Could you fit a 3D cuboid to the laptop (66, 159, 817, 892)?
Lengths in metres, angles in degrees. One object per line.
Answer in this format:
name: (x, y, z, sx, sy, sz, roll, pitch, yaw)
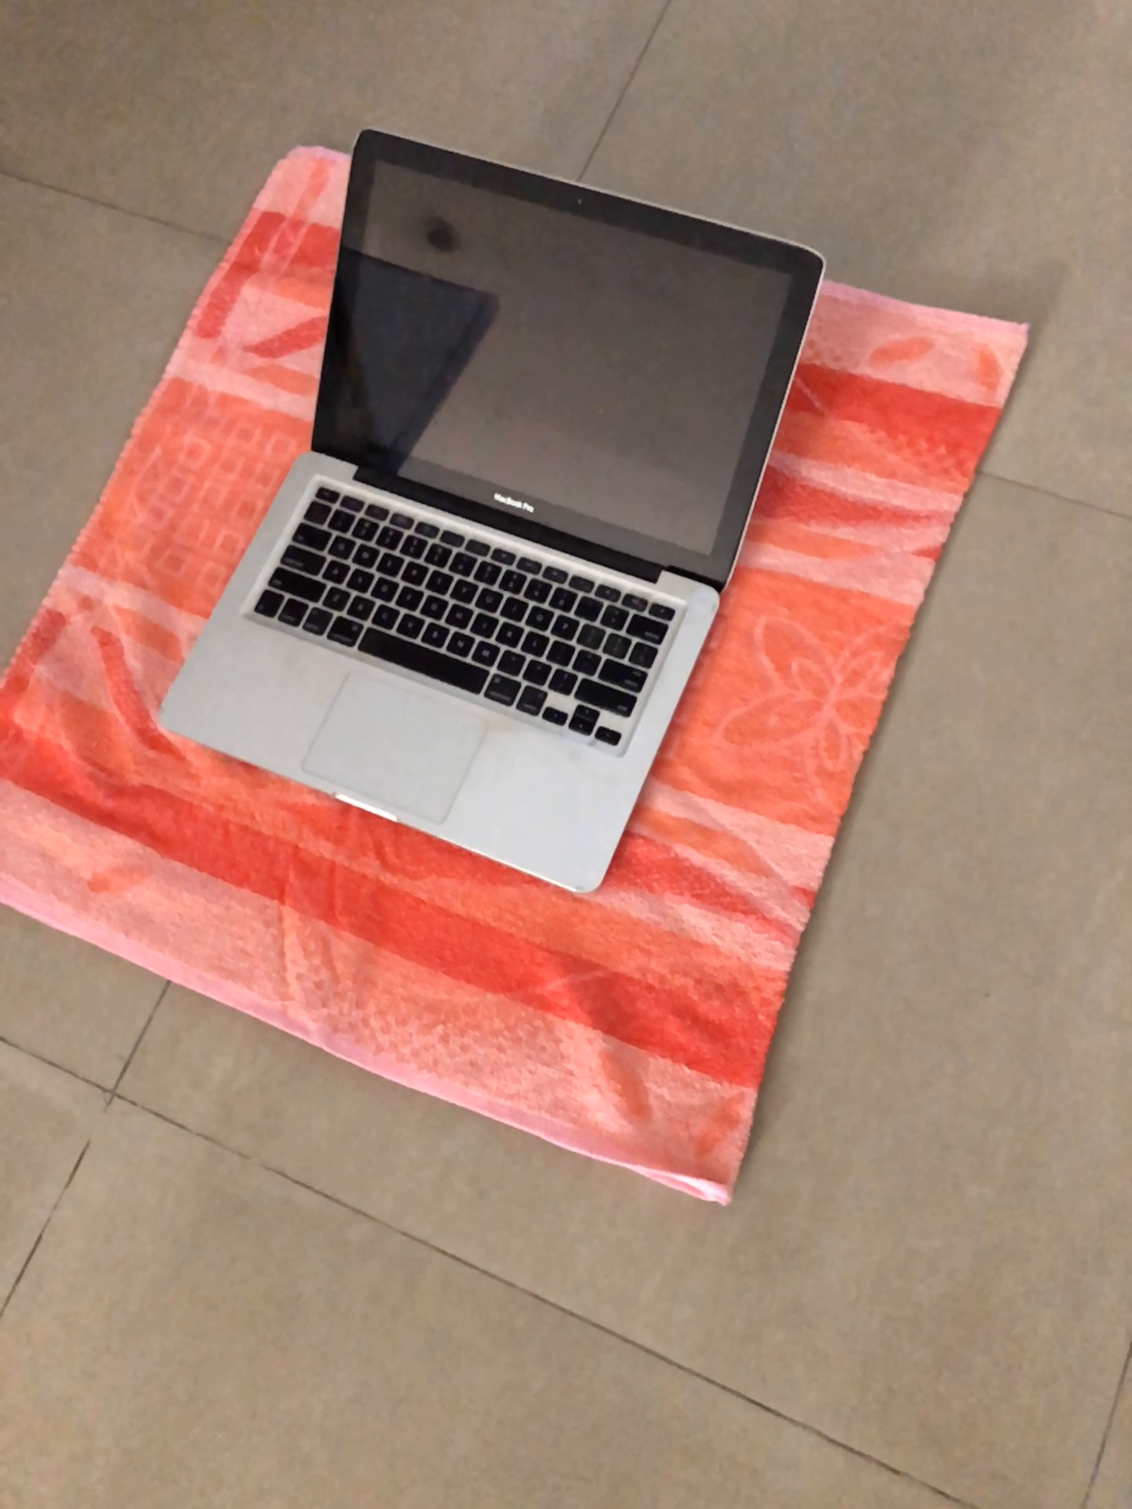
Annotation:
laptop: (-0.059, -0.151, 0.788, 0.309, 0.133, 0.373, 21, 73, 12)
